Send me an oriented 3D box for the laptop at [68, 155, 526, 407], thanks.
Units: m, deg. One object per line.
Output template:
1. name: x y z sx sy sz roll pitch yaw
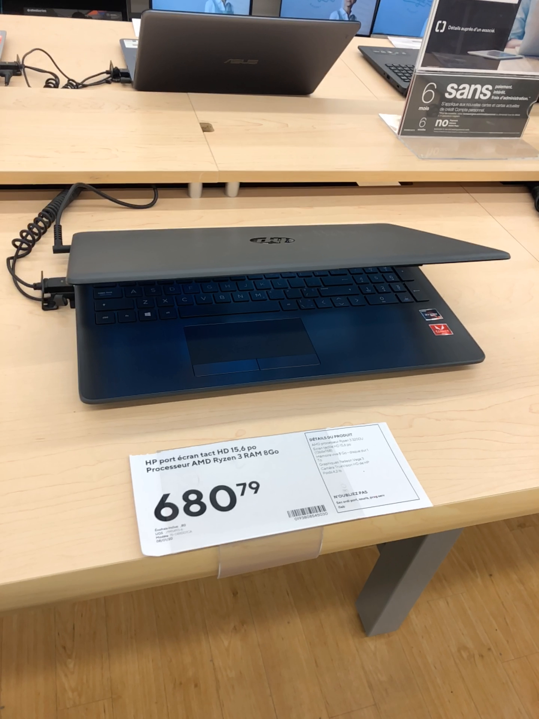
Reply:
1. laptop: 0.008 -0.096 0.560 0.366 0.090 0.243 -5 44 -17
